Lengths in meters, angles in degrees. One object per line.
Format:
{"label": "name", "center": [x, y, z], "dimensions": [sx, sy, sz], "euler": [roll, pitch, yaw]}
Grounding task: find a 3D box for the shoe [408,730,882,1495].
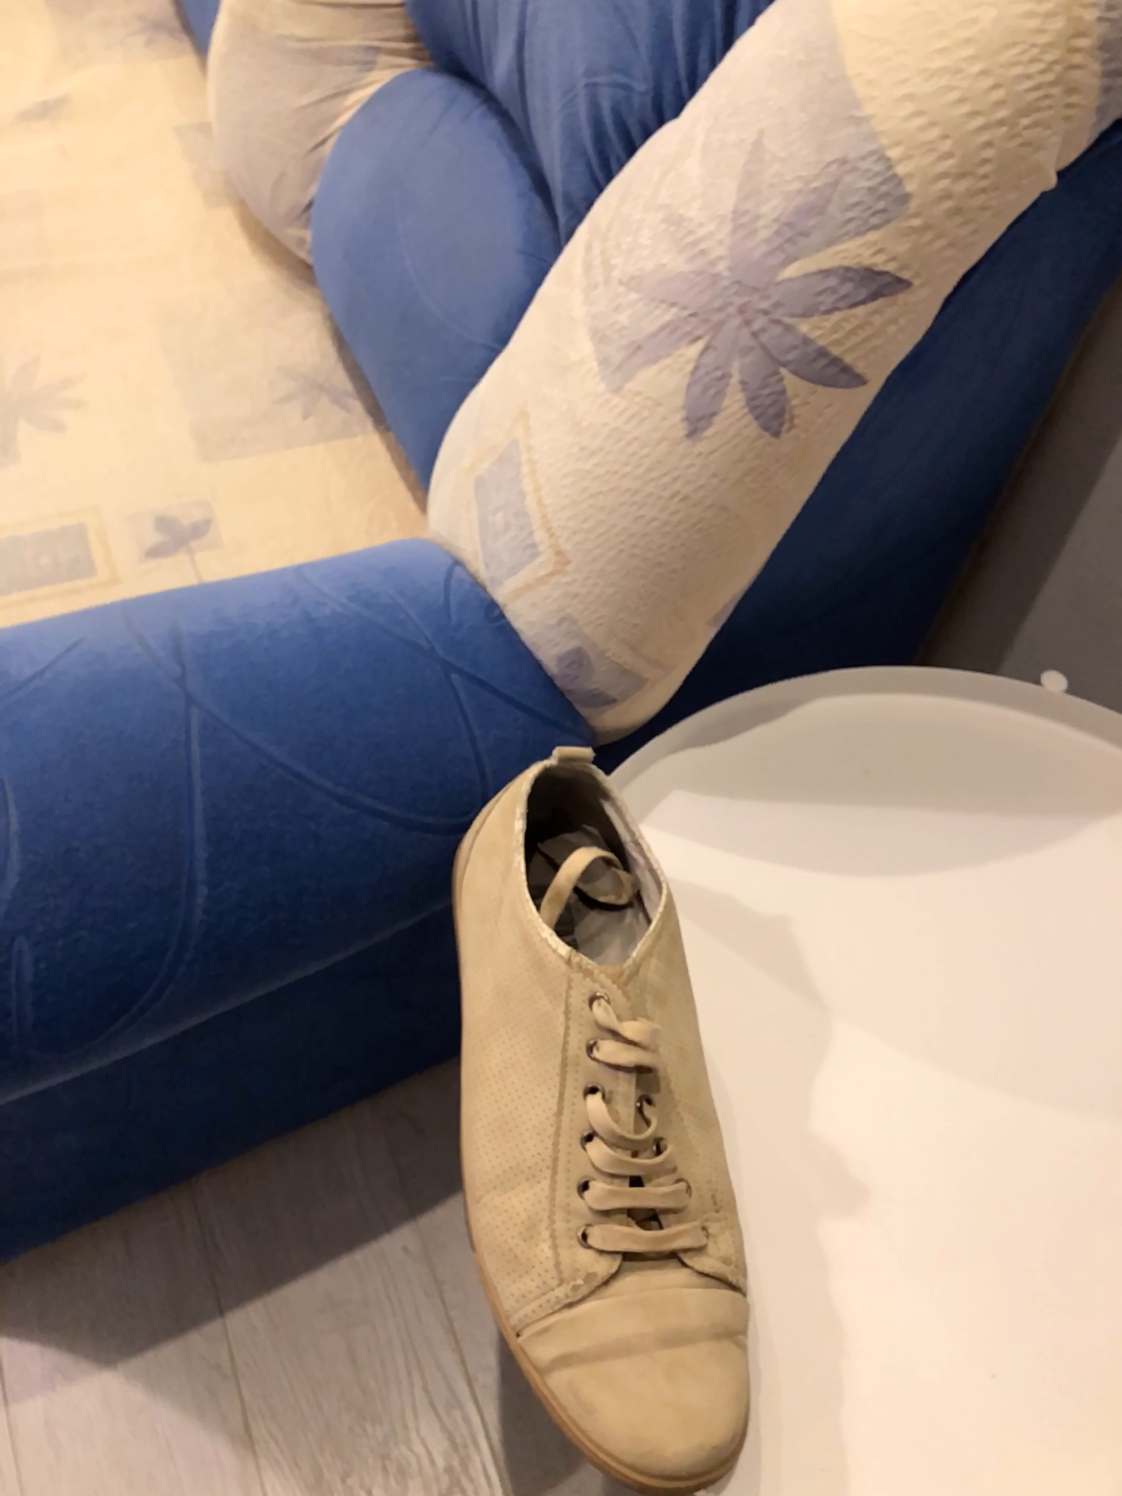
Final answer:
{"label": "shoe", "center": [0.015, 0.131, 0.488], "dimensions": [0.110, 0.070, 0.281], "euler": [-6, 55, -13]}
